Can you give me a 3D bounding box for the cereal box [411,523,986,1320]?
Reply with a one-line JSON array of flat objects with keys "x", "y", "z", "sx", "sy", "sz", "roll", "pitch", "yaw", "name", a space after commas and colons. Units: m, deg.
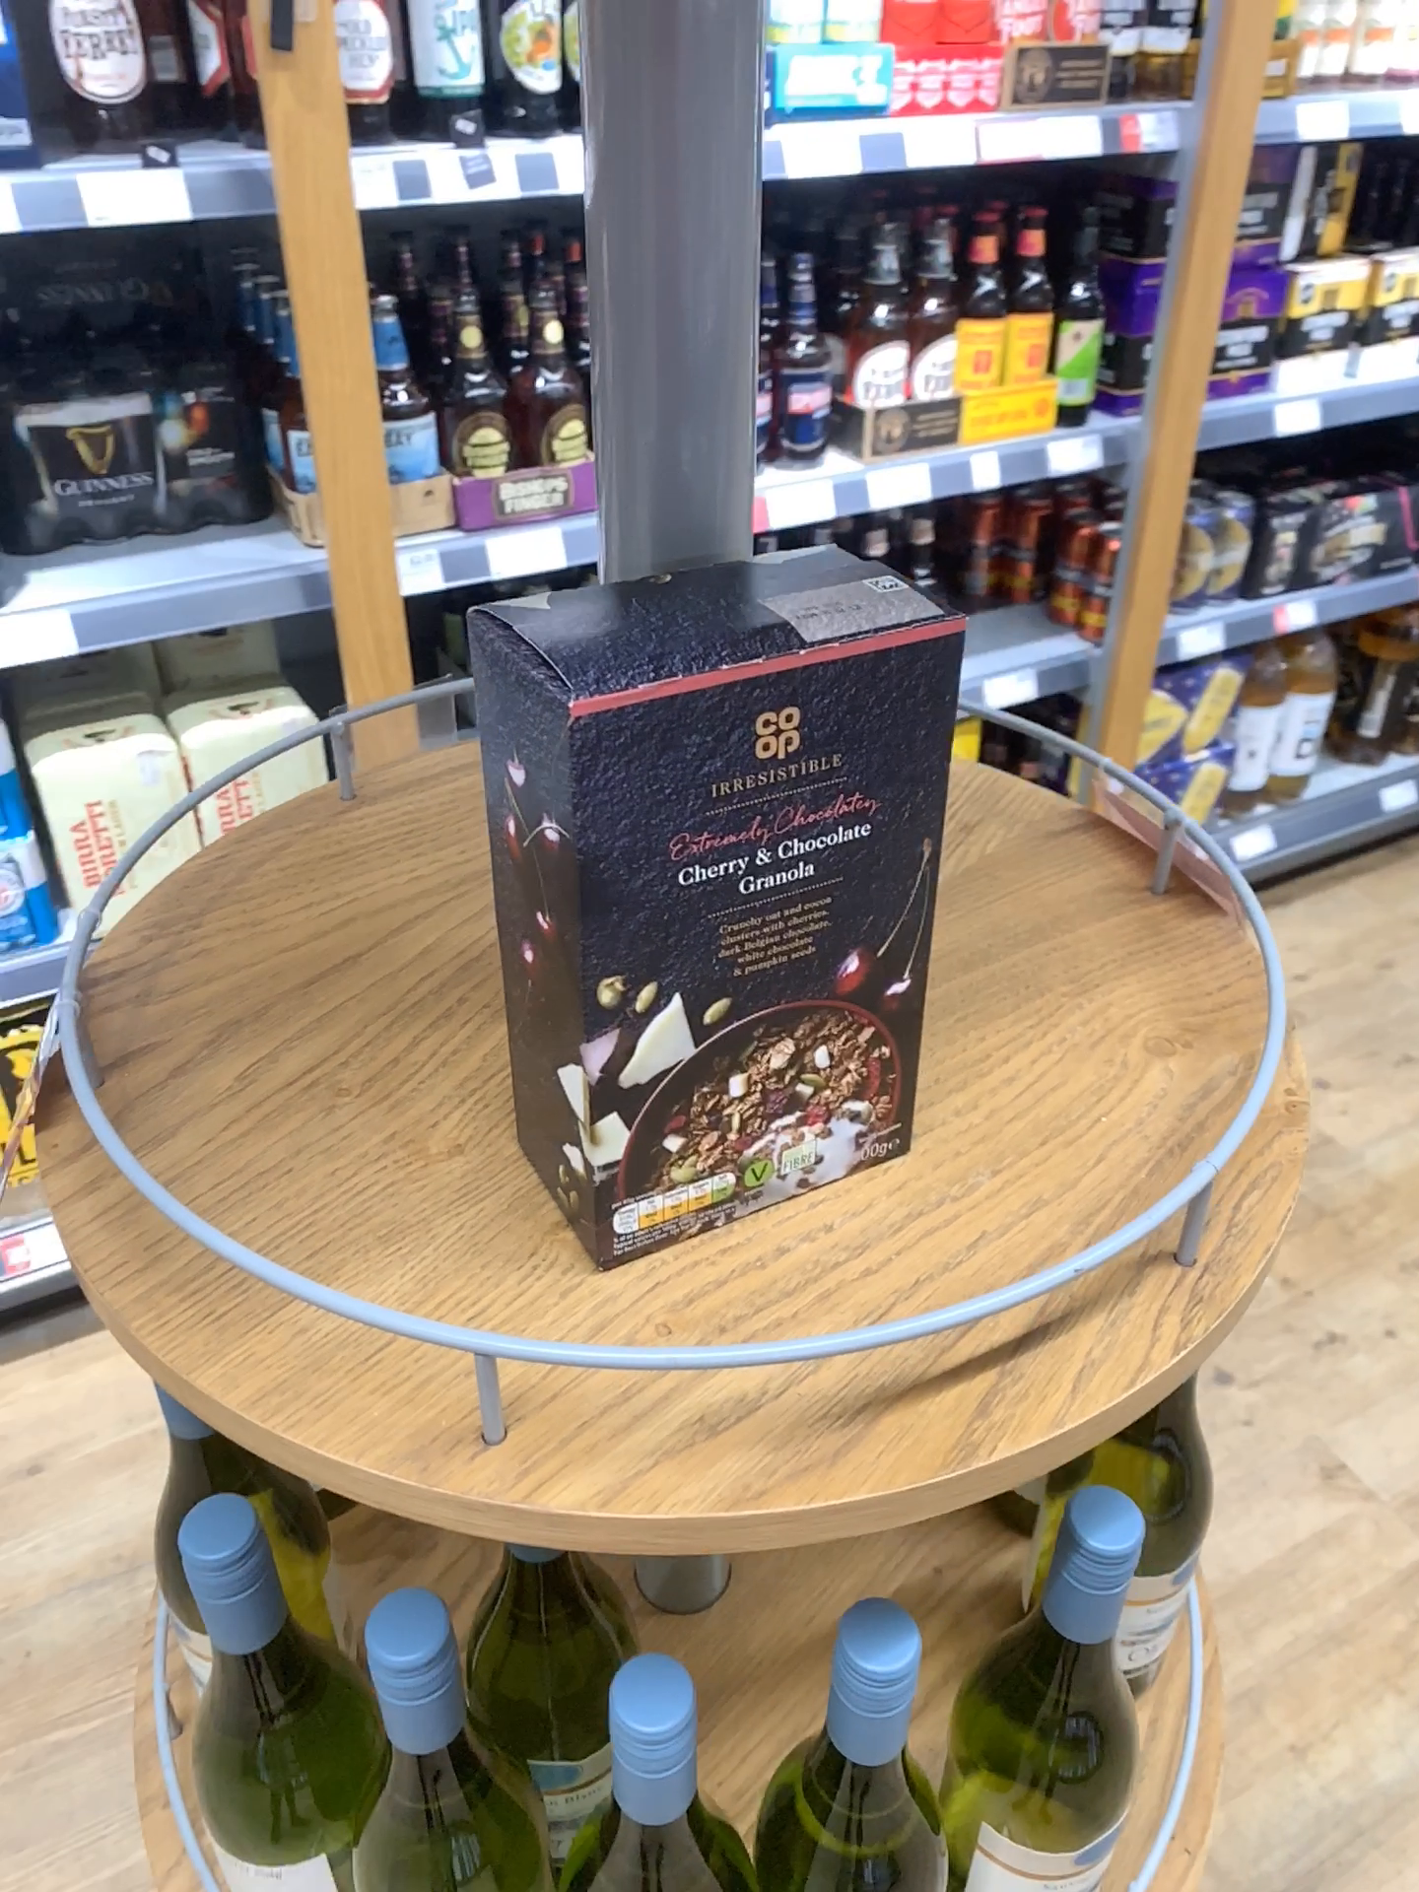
[{"x": -0.005, "y": -0.008, "z": 0.482, "sx": 0.140, "sy": 0.218, "sz": 0.091, "roll": -17, "pitch": 38, "yaw": -23, "name": "cereal box"}]
